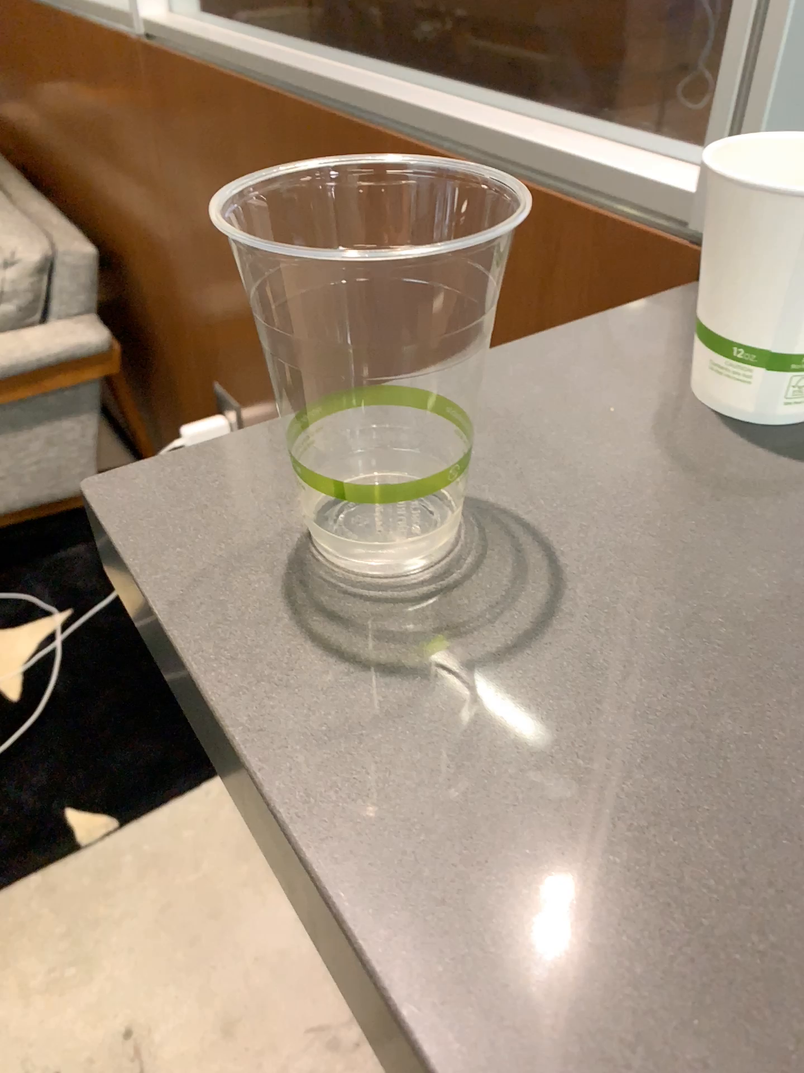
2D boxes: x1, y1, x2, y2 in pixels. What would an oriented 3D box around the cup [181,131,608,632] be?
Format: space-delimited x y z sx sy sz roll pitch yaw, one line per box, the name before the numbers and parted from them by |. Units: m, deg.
cup | -0.006 -0.055 0.276 0.090 0.119 0.090 0 38 0
